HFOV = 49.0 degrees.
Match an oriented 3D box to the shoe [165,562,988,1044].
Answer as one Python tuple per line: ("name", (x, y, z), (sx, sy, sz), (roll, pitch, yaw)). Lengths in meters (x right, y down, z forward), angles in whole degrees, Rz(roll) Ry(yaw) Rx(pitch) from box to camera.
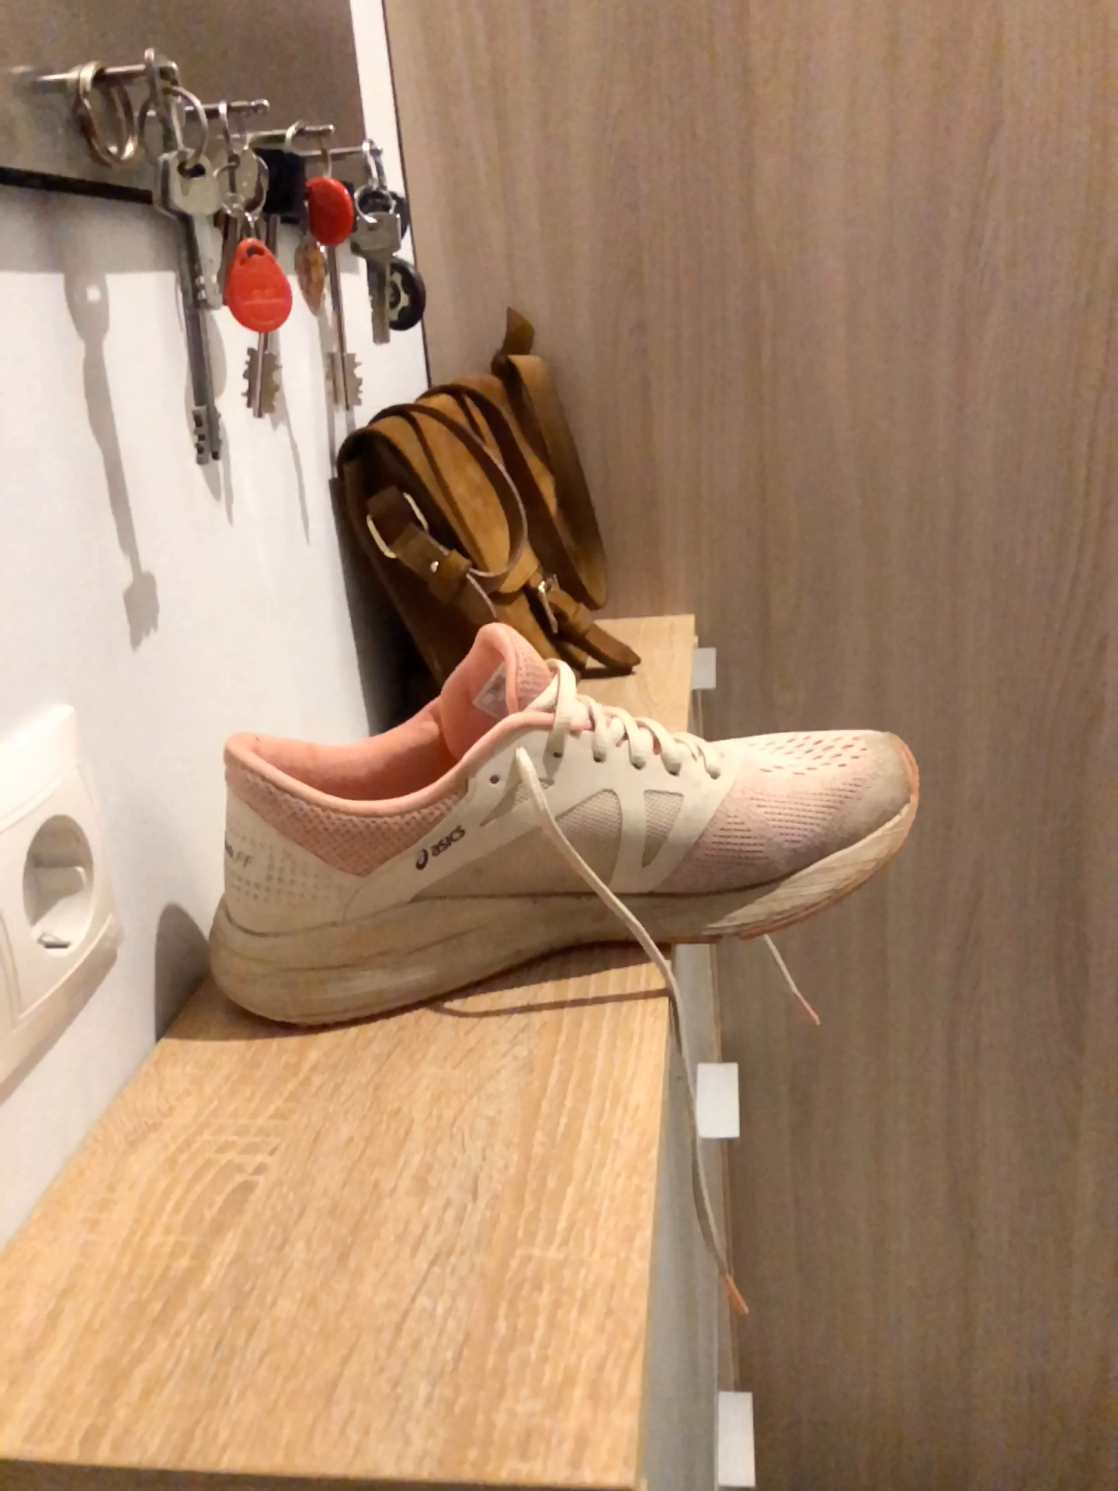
("shoe", (0.007, 0.011, 0.458), (0.268, 0.104, 0.111), (-9, 20, -9))
